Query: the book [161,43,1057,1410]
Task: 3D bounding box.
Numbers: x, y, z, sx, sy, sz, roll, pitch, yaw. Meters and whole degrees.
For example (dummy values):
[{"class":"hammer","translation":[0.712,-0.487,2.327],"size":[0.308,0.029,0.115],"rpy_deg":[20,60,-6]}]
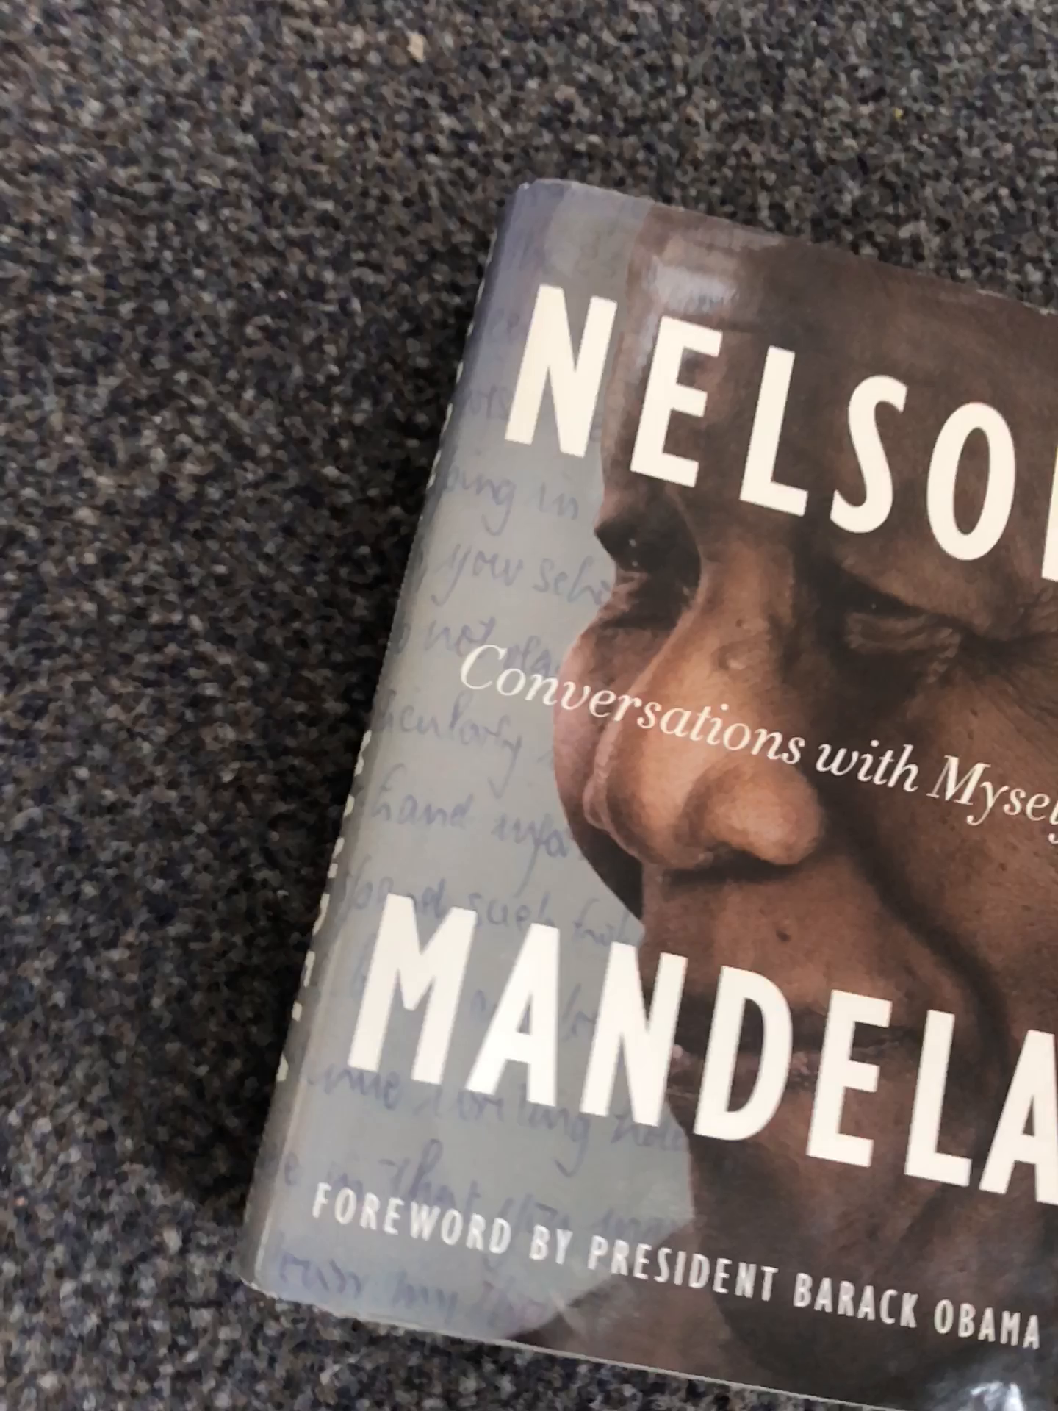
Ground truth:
[{"class":"book","translation":[0.046,0.007,0.255],"size":[0.170,0.050,0.250],"rpy_deg":[15,78,-7]}]
